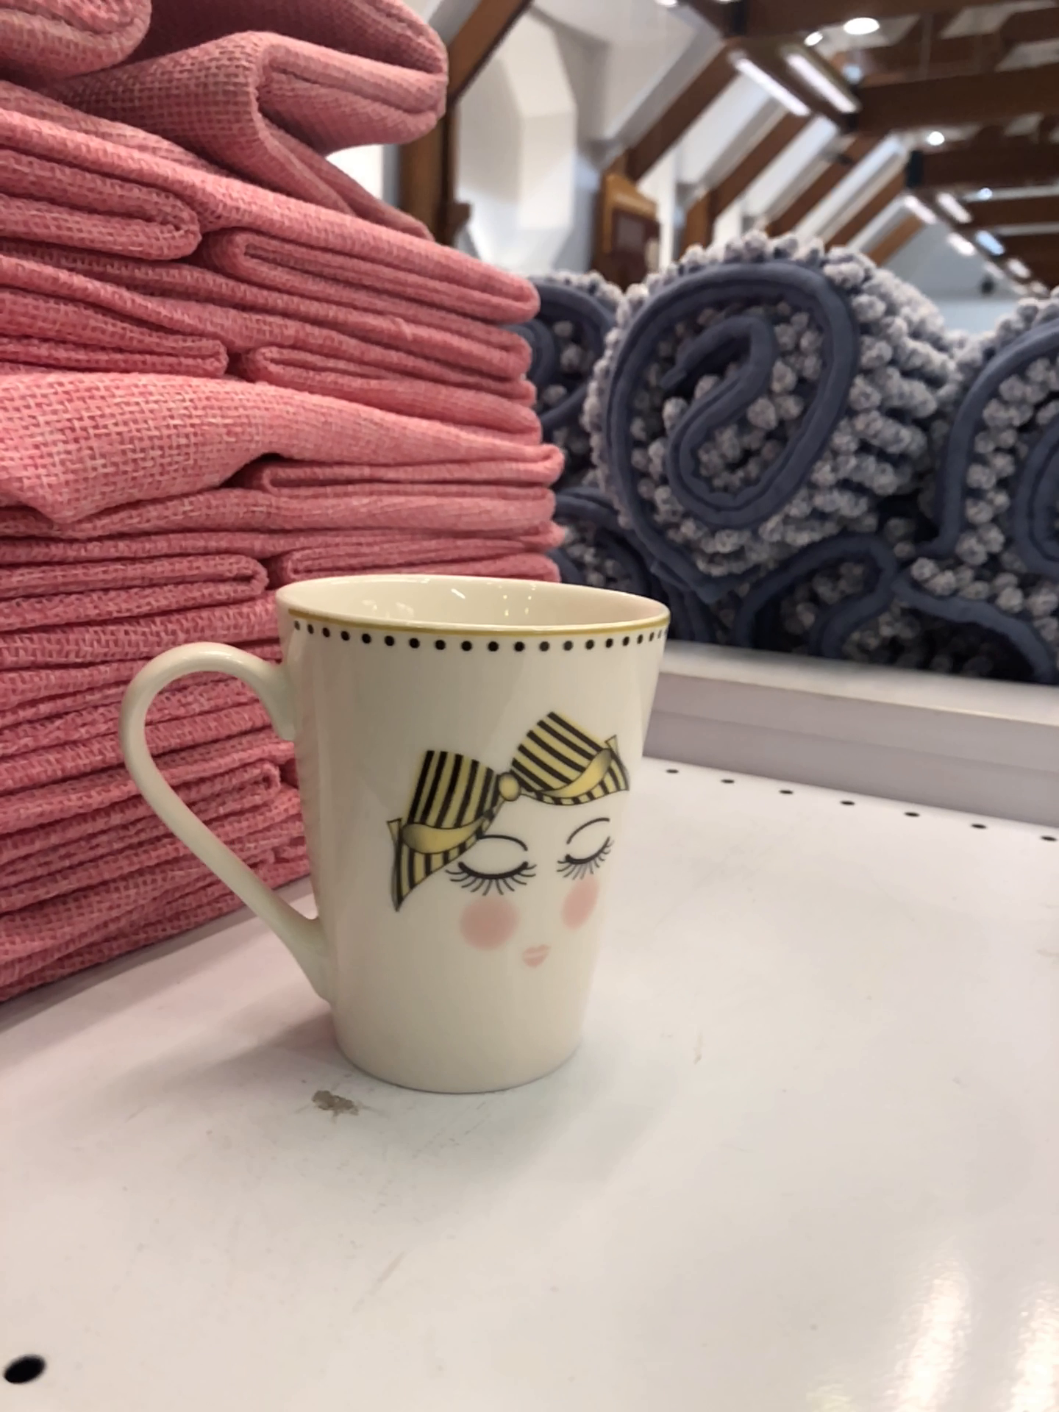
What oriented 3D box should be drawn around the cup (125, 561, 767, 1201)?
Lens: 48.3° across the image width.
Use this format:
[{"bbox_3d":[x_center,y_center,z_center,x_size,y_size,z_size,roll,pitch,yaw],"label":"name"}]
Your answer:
[{"bbox_3d":[-0.023,0.024,0.261,0.110,0.100,0.090,-5,14,-26],"label":"cup"}]
